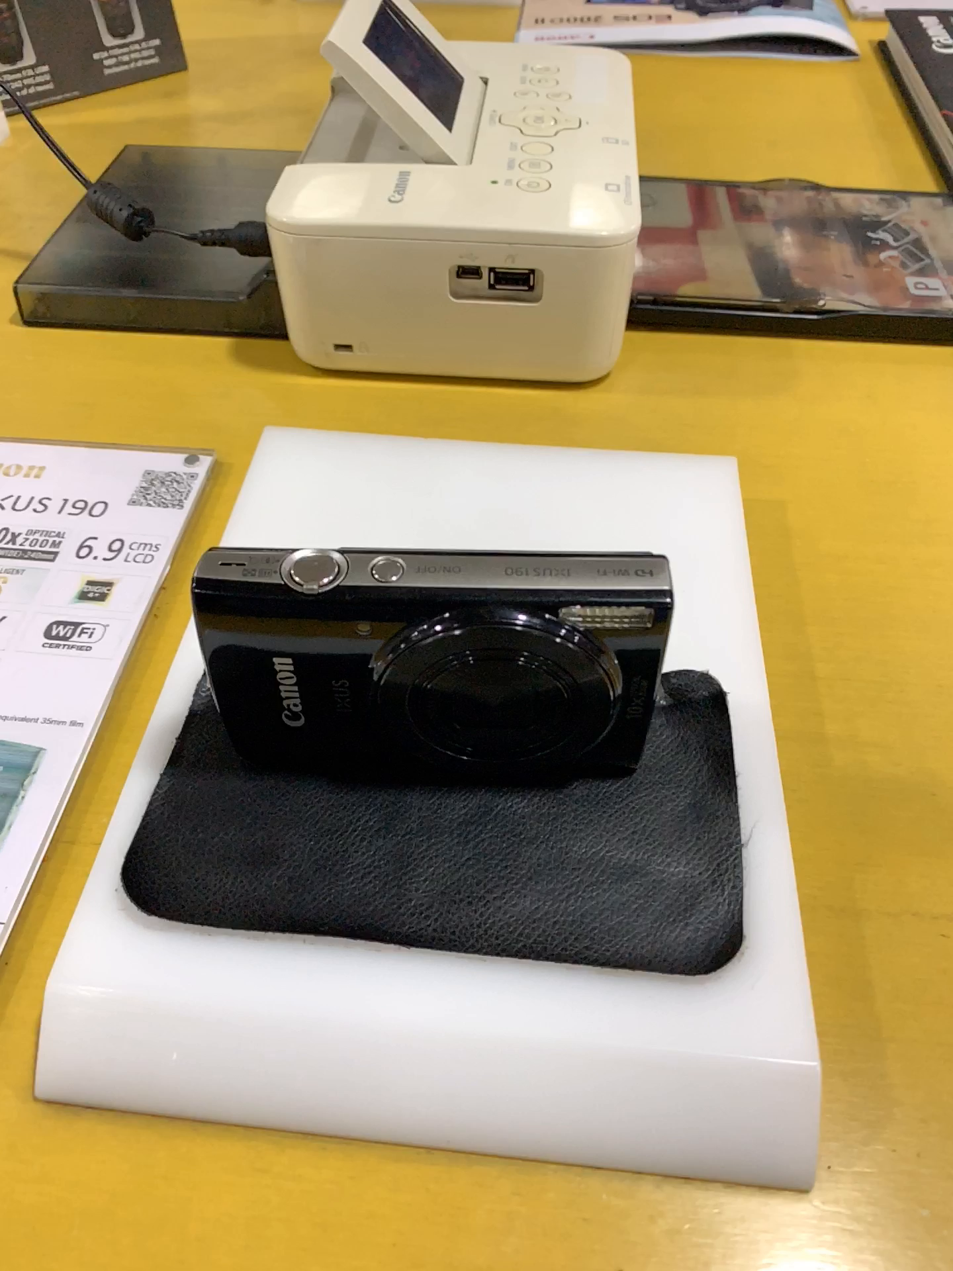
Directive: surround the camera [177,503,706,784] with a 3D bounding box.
[{"bbox_3d":[-0.006,0.004,0.197,0.090,0.060,0.020,1,48,0],"label":"camera"}]
